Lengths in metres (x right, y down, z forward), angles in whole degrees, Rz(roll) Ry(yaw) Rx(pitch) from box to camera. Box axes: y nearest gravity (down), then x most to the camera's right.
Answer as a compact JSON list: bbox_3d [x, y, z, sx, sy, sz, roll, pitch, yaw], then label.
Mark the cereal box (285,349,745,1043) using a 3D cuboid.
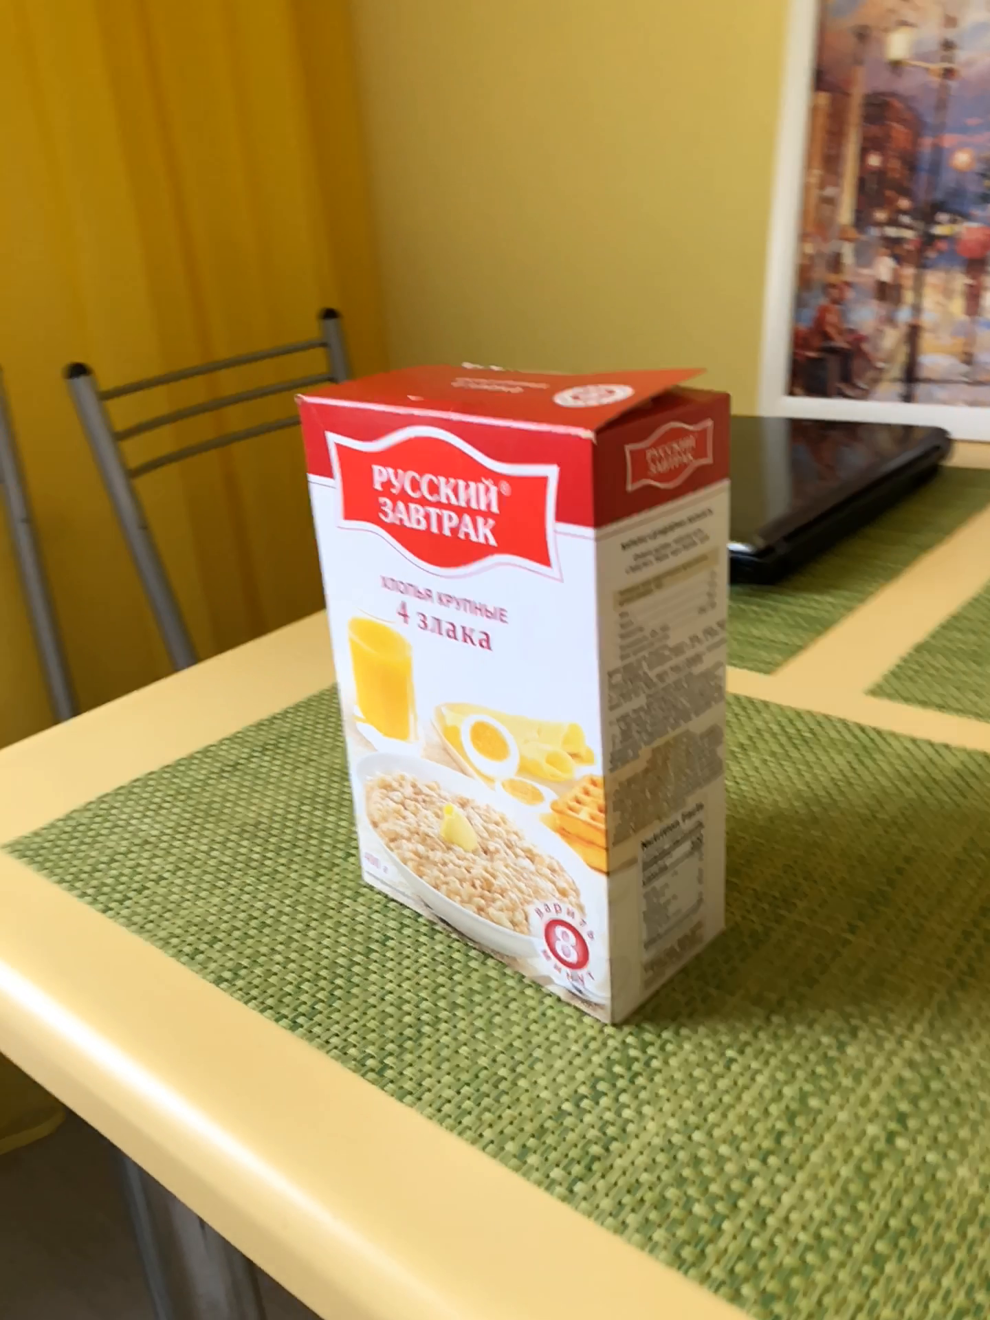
[{"bbox_3d":[0.009,0.004,0.374,0.130,0.199,0.070,18,32,42],"label":"cereal box"}]
